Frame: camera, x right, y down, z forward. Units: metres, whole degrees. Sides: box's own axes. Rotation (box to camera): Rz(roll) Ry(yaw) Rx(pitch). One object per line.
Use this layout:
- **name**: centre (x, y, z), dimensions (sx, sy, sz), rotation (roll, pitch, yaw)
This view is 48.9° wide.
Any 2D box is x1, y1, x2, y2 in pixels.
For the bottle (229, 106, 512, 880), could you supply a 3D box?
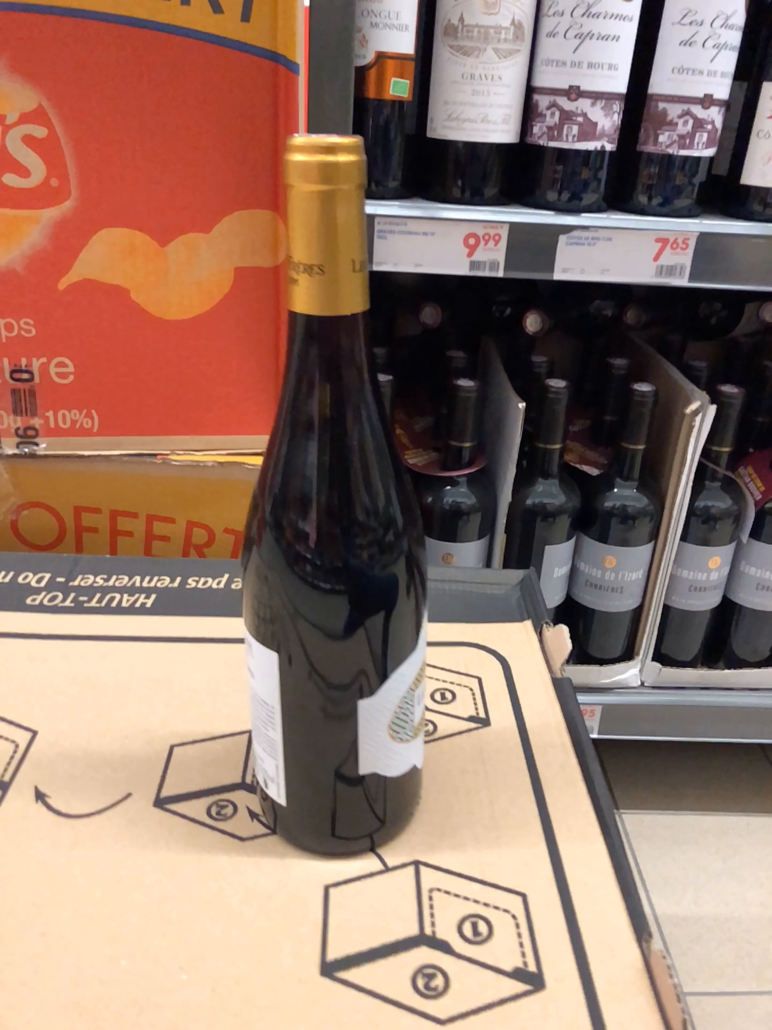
- **bottle**: centre (-0.016, 0.003, 0.344), dimensions (0.080, 0.298, 0.090), rotation (0, 26, -6)
